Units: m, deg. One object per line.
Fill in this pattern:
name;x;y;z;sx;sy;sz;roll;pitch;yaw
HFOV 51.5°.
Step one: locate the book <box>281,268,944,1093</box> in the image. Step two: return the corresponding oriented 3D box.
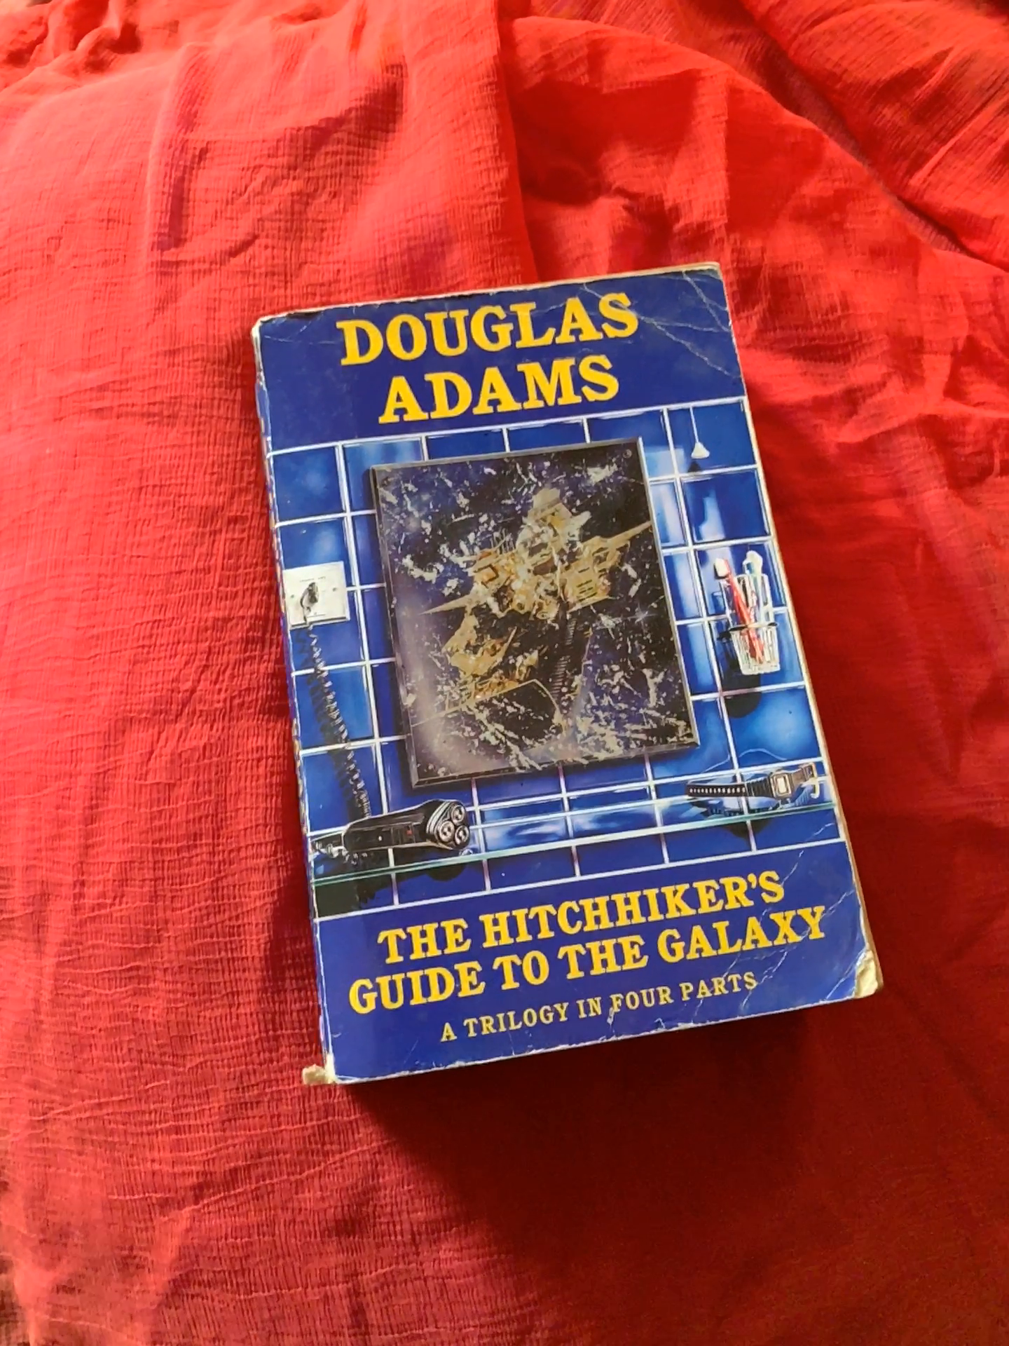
book;0.019;-0.004;0.270;0.130;0.045;0.187;-7;76;-4
